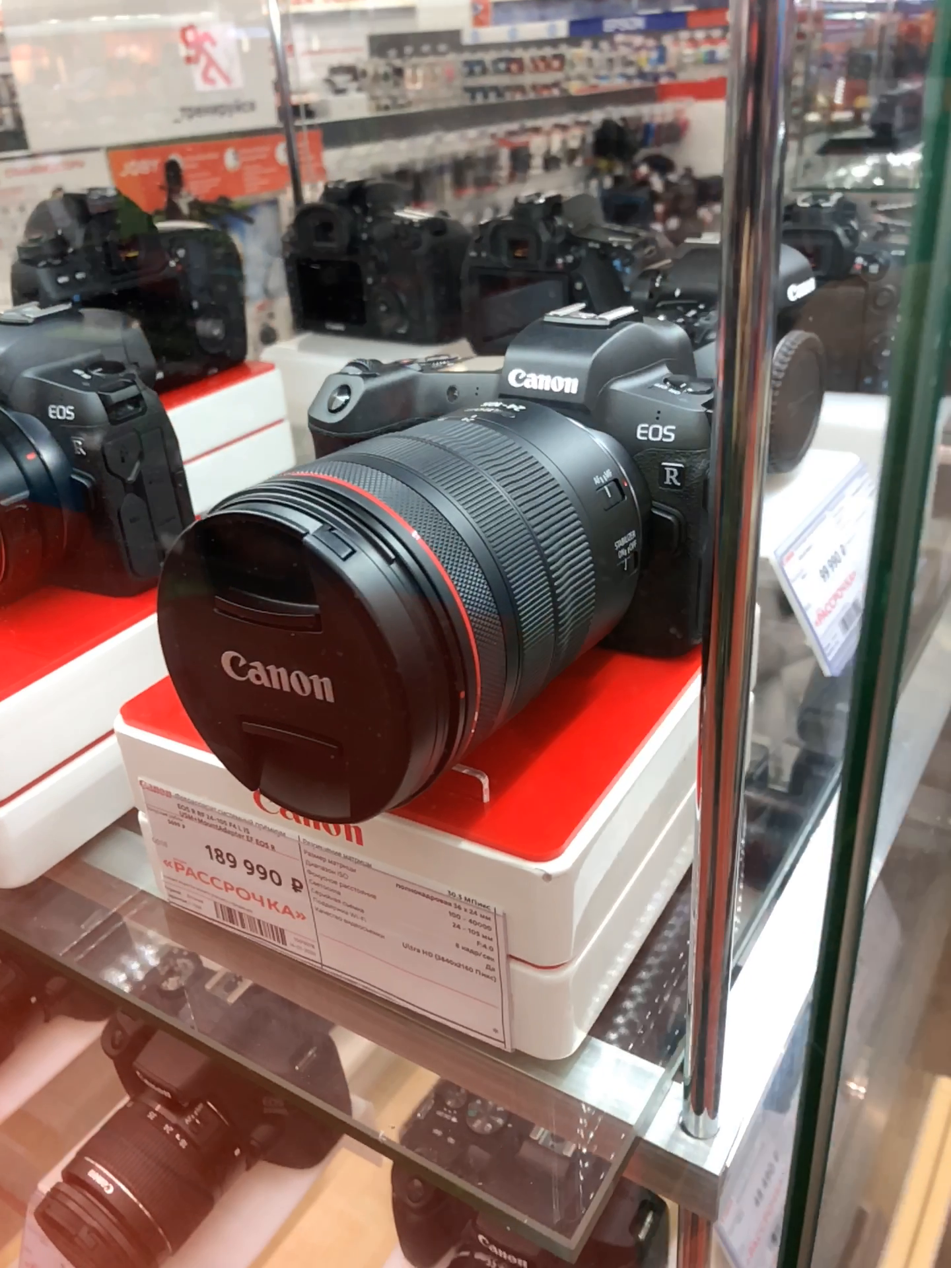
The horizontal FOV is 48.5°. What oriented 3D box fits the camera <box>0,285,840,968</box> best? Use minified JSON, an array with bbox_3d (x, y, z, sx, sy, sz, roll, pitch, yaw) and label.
[{"bbox_3d":[-0.002,-0.028,0.291,0.144,0.093,0.181,14,33,29],"label":"camera"}]
